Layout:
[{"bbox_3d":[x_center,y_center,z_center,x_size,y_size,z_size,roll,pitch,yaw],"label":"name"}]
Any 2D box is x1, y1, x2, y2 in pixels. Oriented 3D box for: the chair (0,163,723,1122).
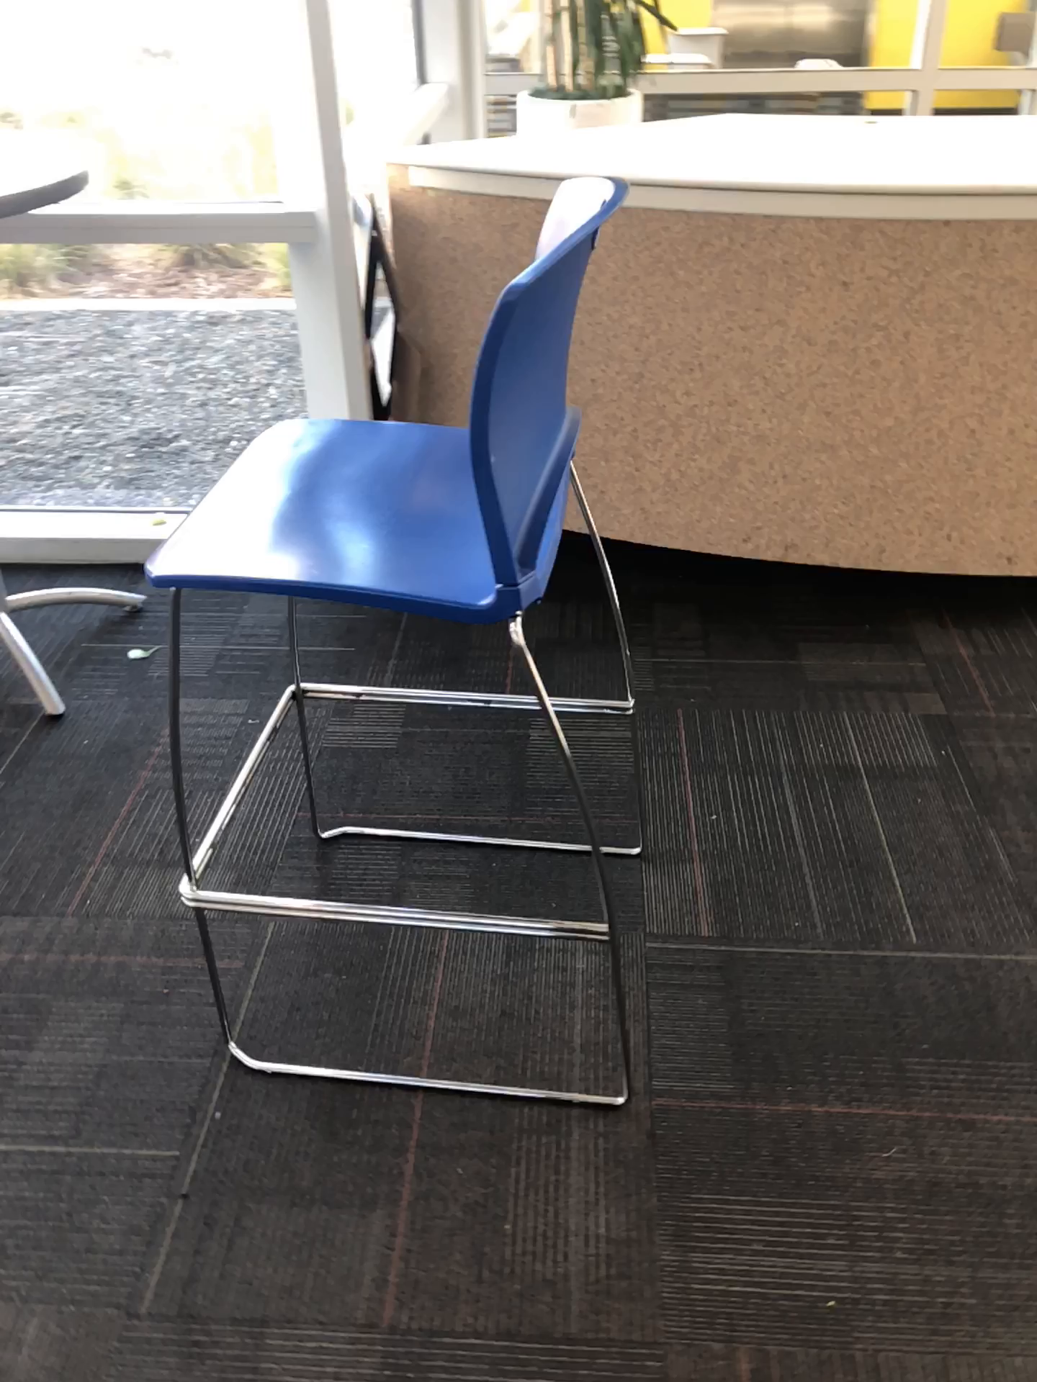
[{"bbox_3d":[-0.099,-0.058,1.369,0.610,0.965,0.553,3,33,8],"label":"chair"}]
